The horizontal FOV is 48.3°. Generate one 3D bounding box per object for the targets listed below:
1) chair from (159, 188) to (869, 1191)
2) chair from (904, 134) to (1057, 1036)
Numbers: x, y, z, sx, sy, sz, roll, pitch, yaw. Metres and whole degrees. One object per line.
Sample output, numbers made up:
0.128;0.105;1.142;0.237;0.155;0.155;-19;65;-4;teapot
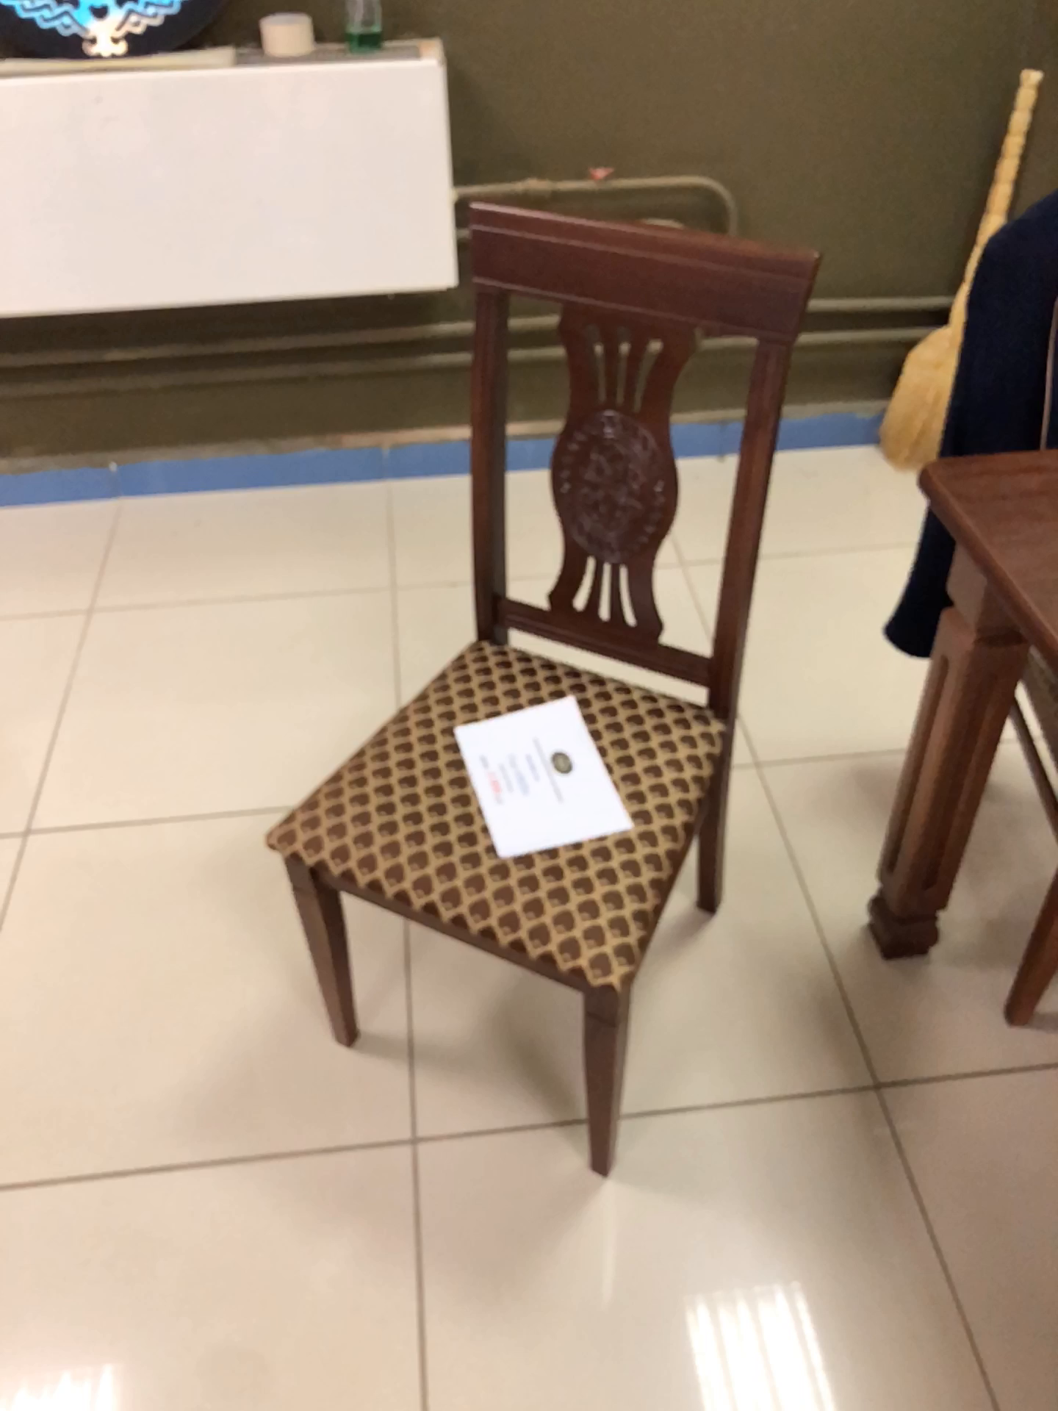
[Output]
0.019;0.009;1.316;0.436;0.935;0.472;19;44;22;chair
0.829;-0.102;1.430;0.430;0.955;0.493;-3;40;-2;chair
